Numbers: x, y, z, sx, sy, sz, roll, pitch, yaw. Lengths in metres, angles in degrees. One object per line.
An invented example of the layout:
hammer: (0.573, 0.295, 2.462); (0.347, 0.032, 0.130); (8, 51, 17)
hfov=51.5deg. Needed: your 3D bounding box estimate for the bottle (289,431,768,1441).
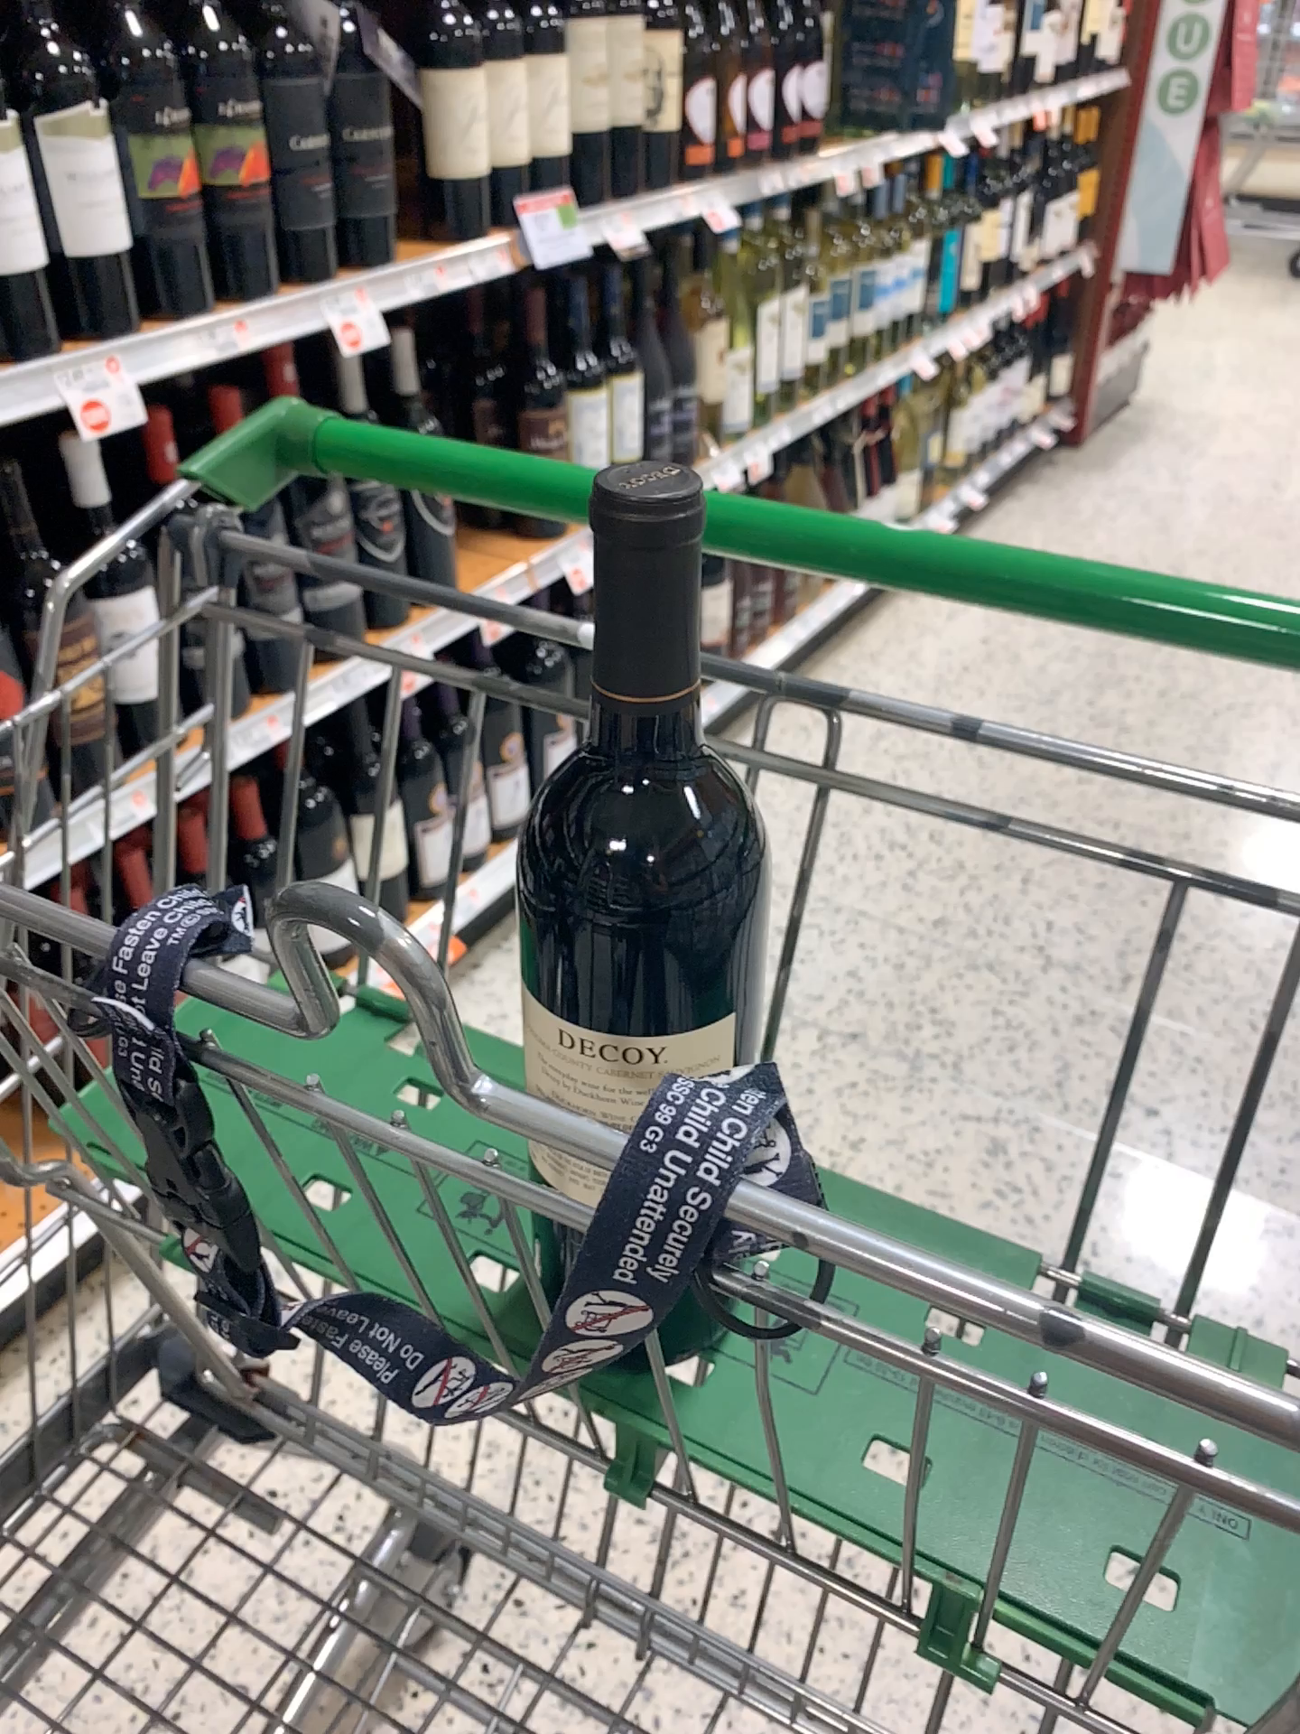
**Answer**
bottle: (-0.026, 0.035, 0.408); (0.090, 0.297, 0.091); (0, 34, 0)
